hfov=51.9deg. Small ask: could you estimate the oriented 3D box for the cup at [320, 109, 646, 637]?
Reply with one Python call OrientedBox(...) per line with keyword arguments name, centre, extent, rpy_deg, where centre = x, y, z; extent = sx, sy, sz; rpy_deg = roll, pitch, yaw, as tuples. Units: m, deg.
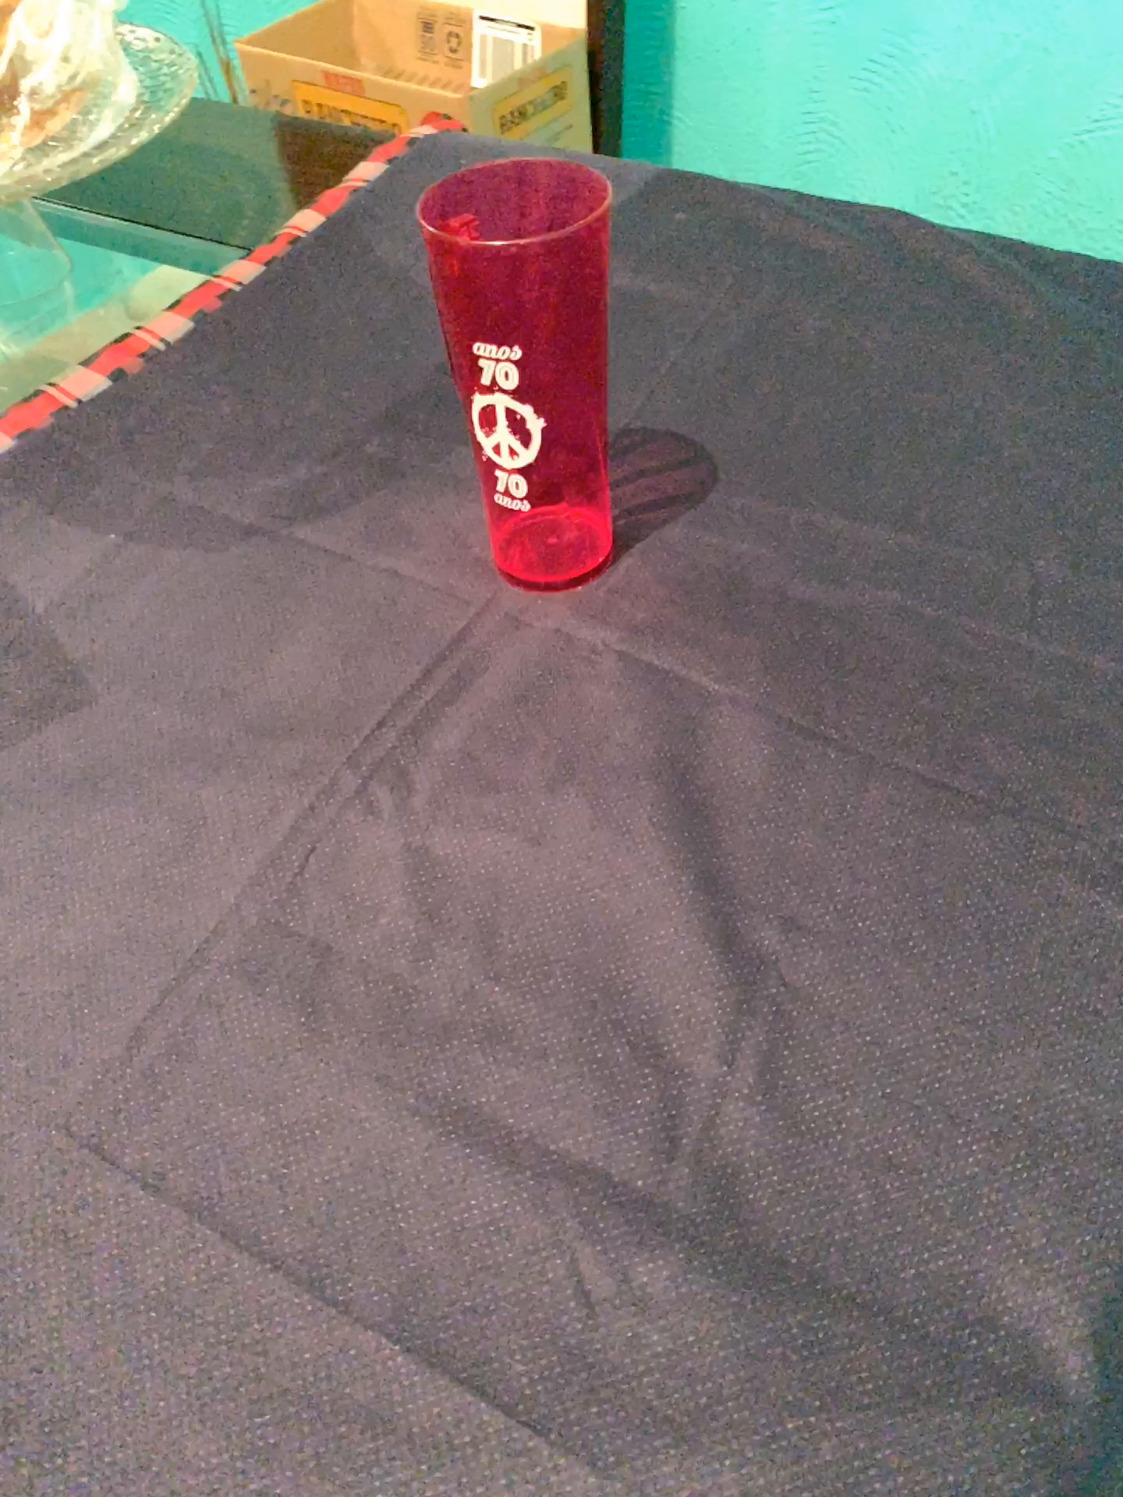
OrientedBox(name="cup", centre=(-0.026, -0.150, 0.476), extent=(0.070, 0.169, 0.100), rpy_deg=(-31, 54, -20))
